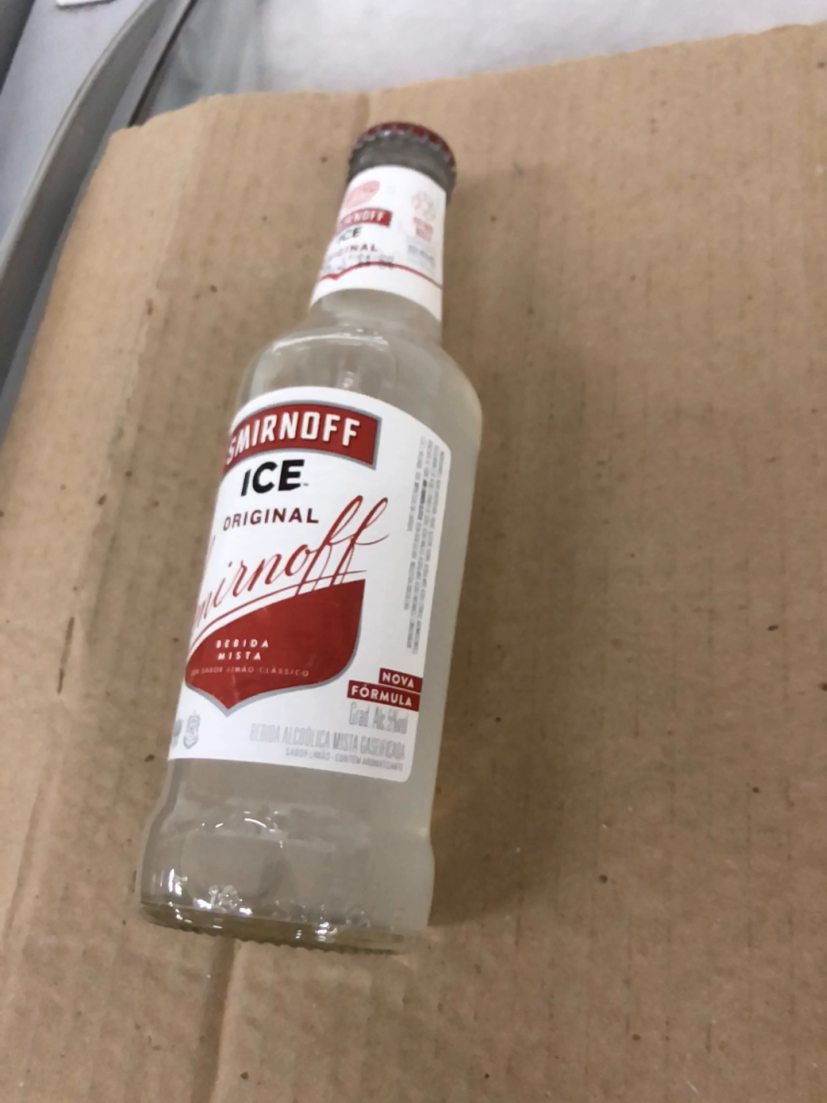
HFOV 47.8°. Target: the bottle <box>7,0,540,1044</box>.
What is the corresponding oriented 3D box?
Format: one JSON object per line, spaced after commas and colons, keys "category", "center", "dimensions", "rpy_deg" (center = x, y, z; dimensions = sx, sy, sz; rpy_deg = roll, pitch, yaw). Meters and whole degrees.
{"category": "bottle", "center": [-0.018, -0.018, 0.205], "dimensions": [0.070, 0.050, 0.210], "rpy_deg": [1, 71, 17]}
